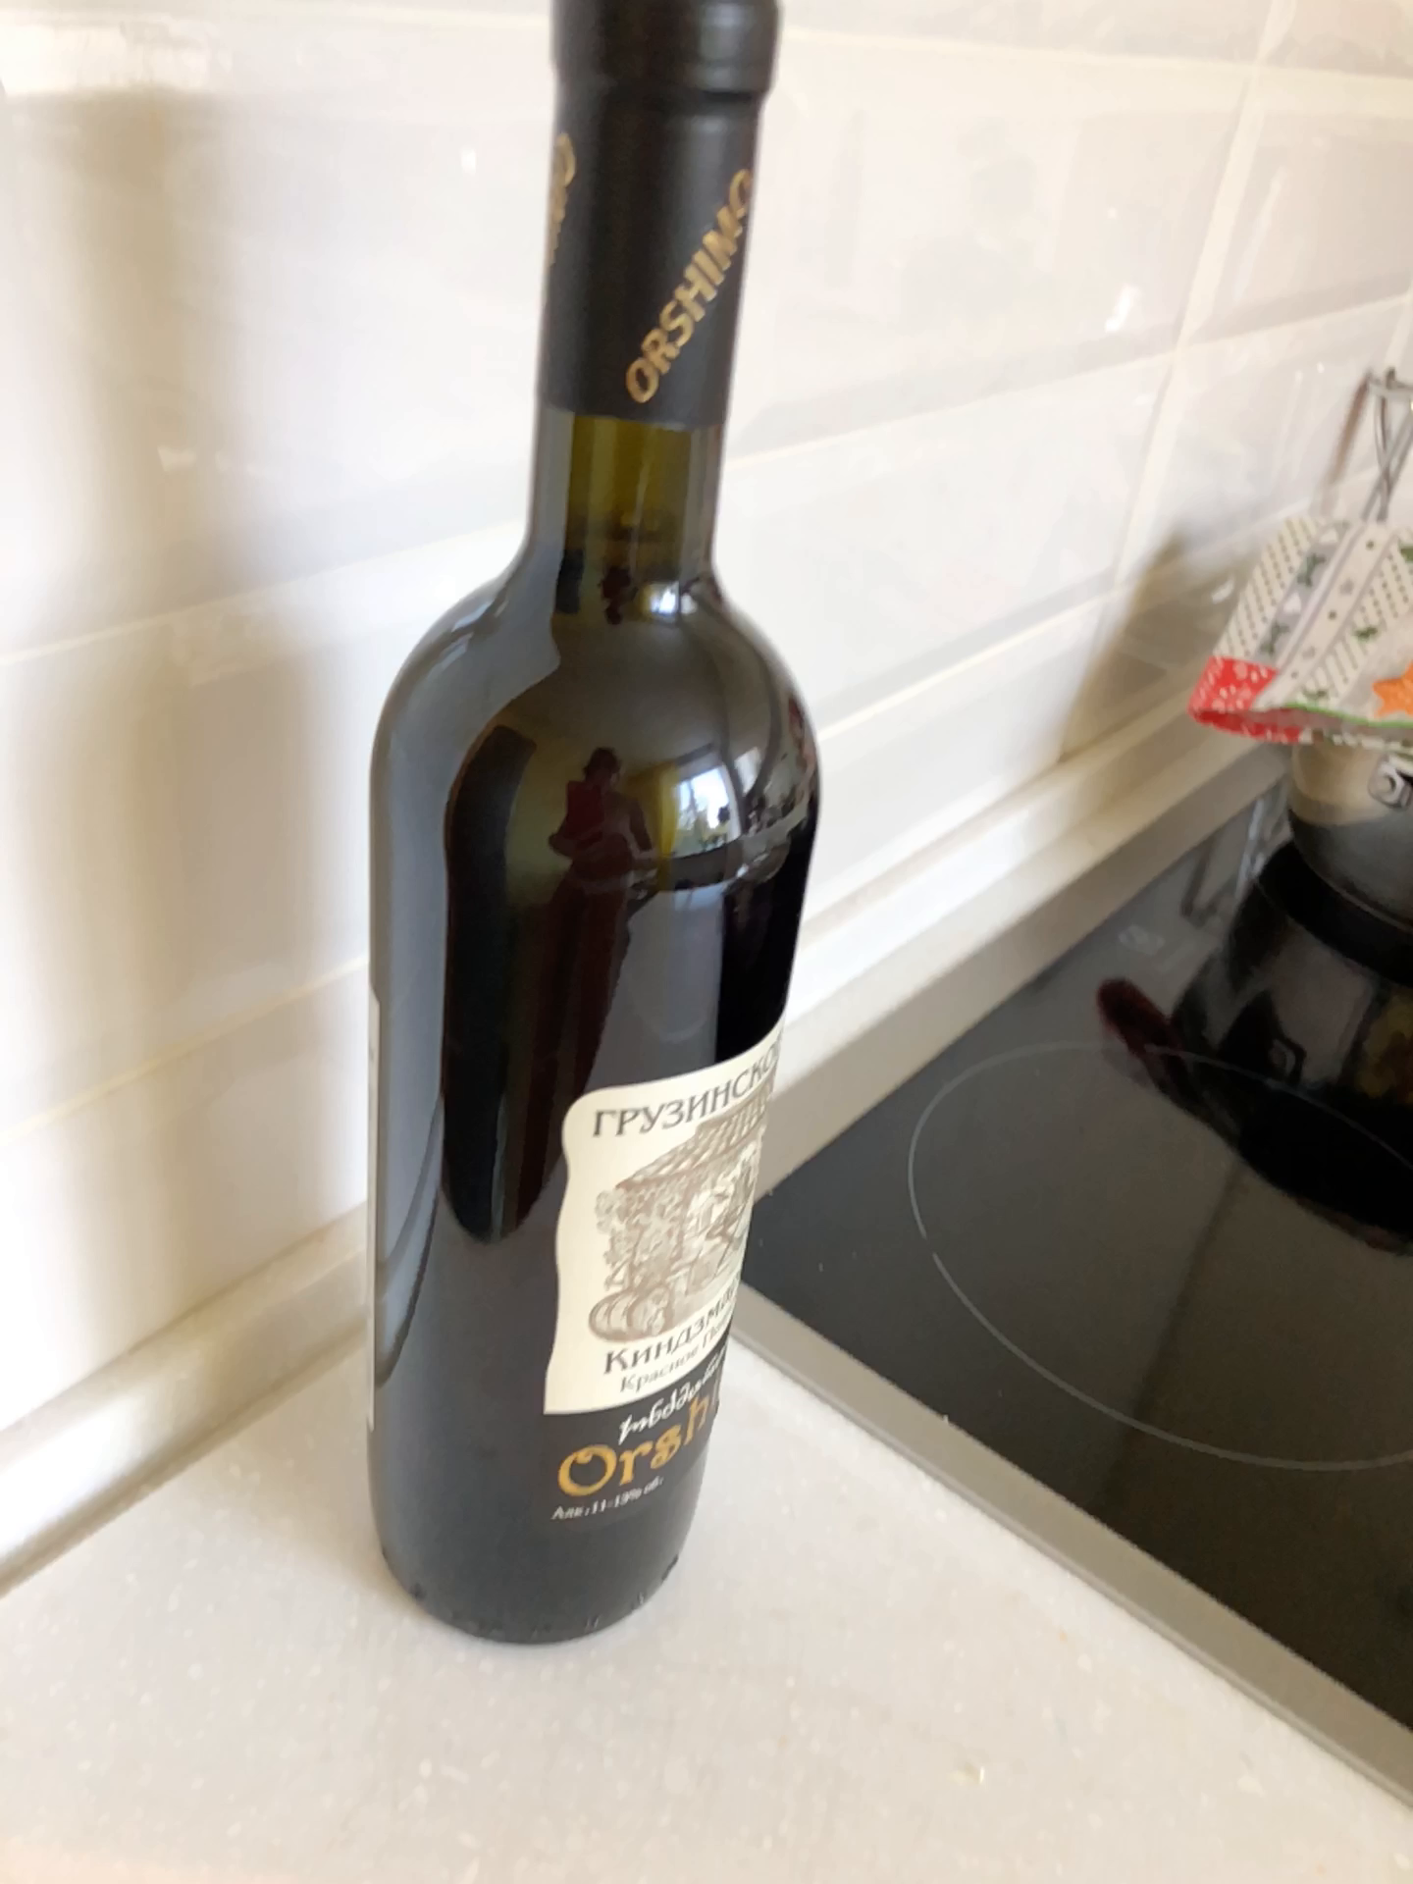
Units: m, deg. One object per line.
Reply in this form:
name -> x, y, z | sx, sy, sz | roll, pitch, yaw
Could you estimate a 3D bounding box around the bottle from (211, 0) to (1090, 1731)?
bottle -> -0.021, 0.000, 0.276 | 0.080, 0.298, 0.080 | 6, 32, -4
